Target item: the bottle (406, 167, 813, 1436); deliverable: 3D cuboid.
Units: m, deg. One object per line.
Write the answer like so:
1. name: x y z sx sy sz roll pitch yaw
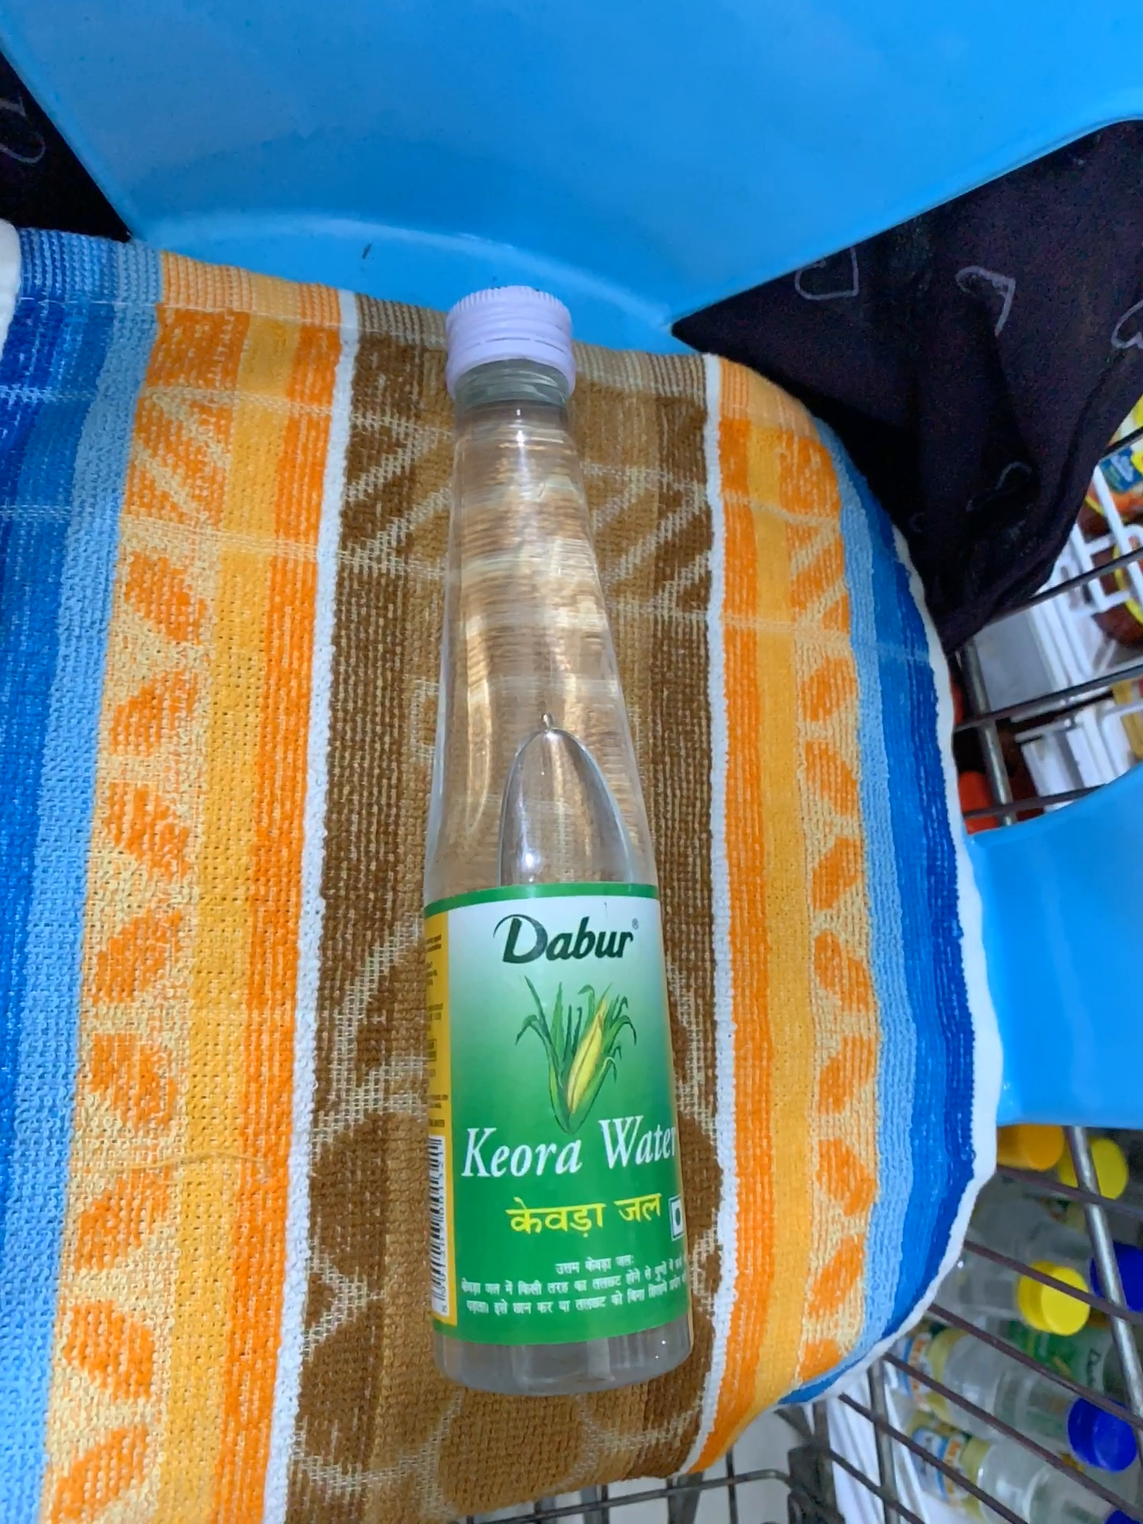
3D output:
1. bottle: 0.002 0.003 0.217 0.050 0.050 0.200 0 82 -20
